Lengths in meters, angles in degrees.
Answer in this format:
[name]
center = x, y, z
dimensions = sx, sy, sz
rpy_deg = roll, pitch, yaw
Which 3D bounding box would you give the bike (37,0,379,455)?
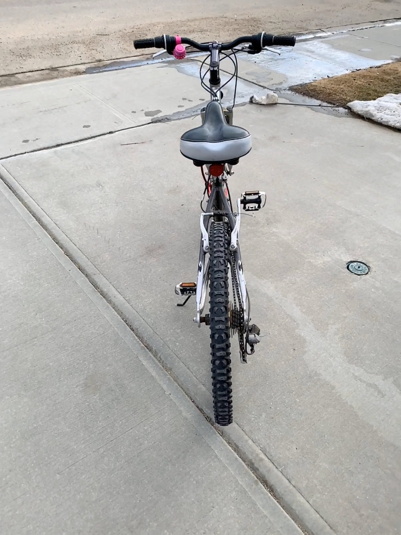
[bike]
center = 0.030, -0.293, 1.458
dimensions = 0.538, 0.825, 1.509
rpy_deg = 4, 44, 0
